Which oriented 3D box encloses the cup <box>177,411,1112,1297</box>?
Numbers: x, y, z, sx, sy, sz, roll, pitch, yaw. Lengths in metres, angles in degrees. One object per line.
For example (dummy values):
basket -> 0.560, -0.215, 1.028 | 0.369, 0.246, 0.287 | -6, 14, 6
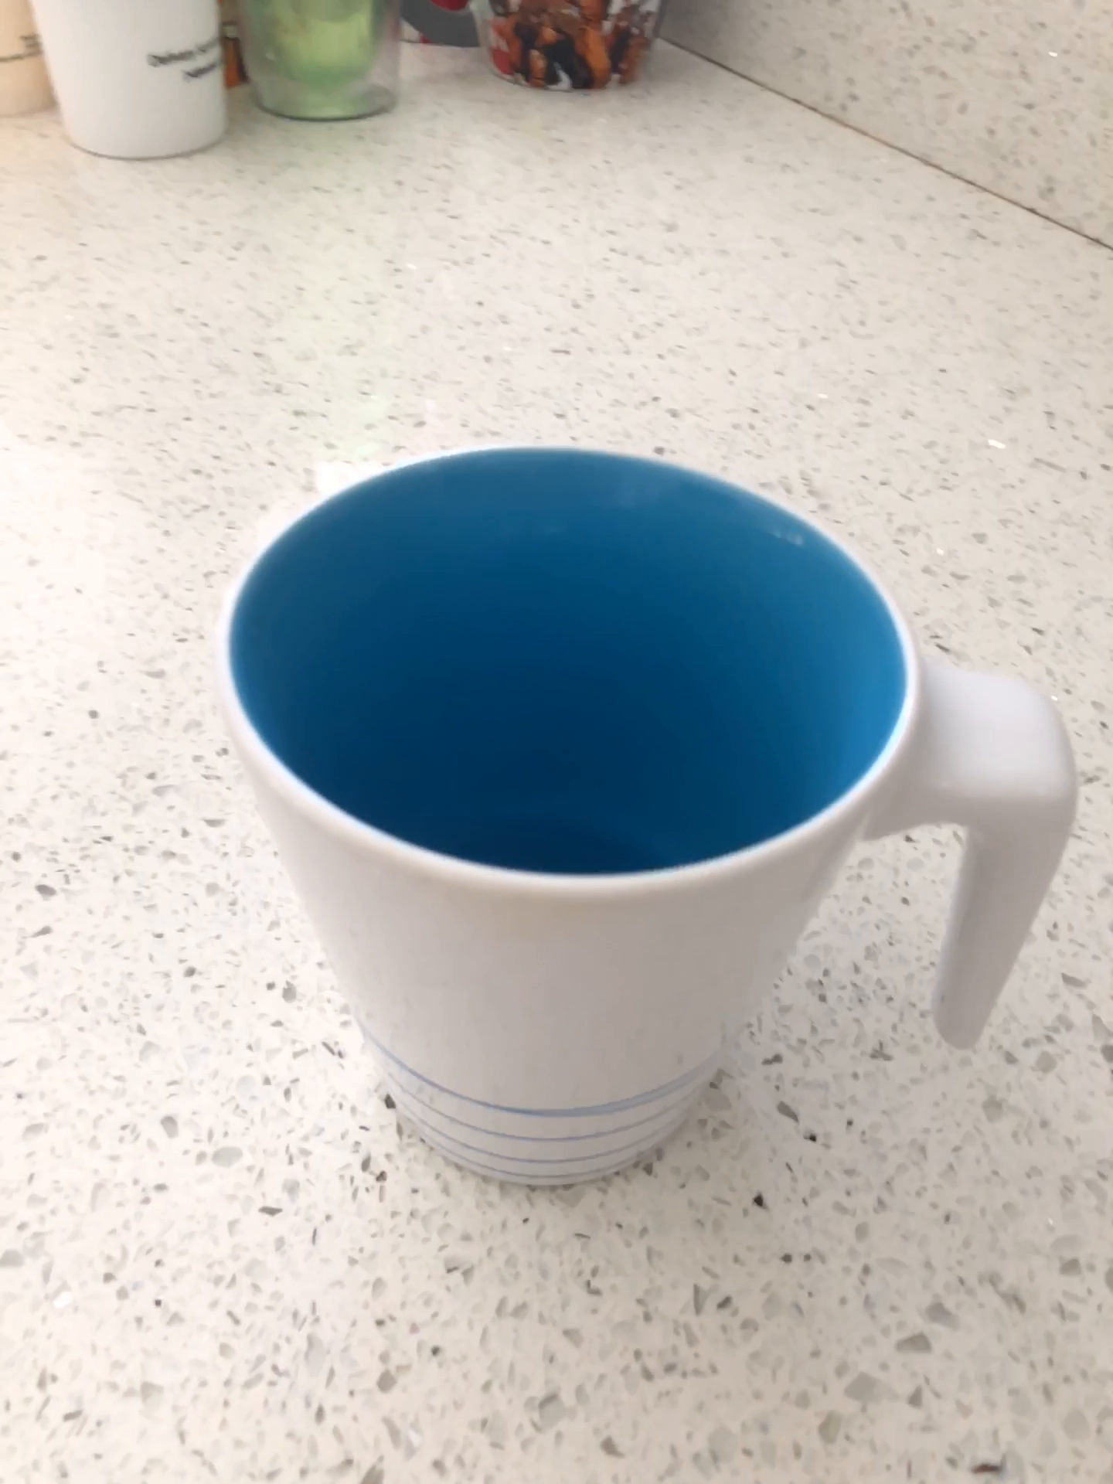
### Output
cup -> 0.018, 0.015, 0.180 | 0.120, 0.090, 0.080 | -4, 43, -6
